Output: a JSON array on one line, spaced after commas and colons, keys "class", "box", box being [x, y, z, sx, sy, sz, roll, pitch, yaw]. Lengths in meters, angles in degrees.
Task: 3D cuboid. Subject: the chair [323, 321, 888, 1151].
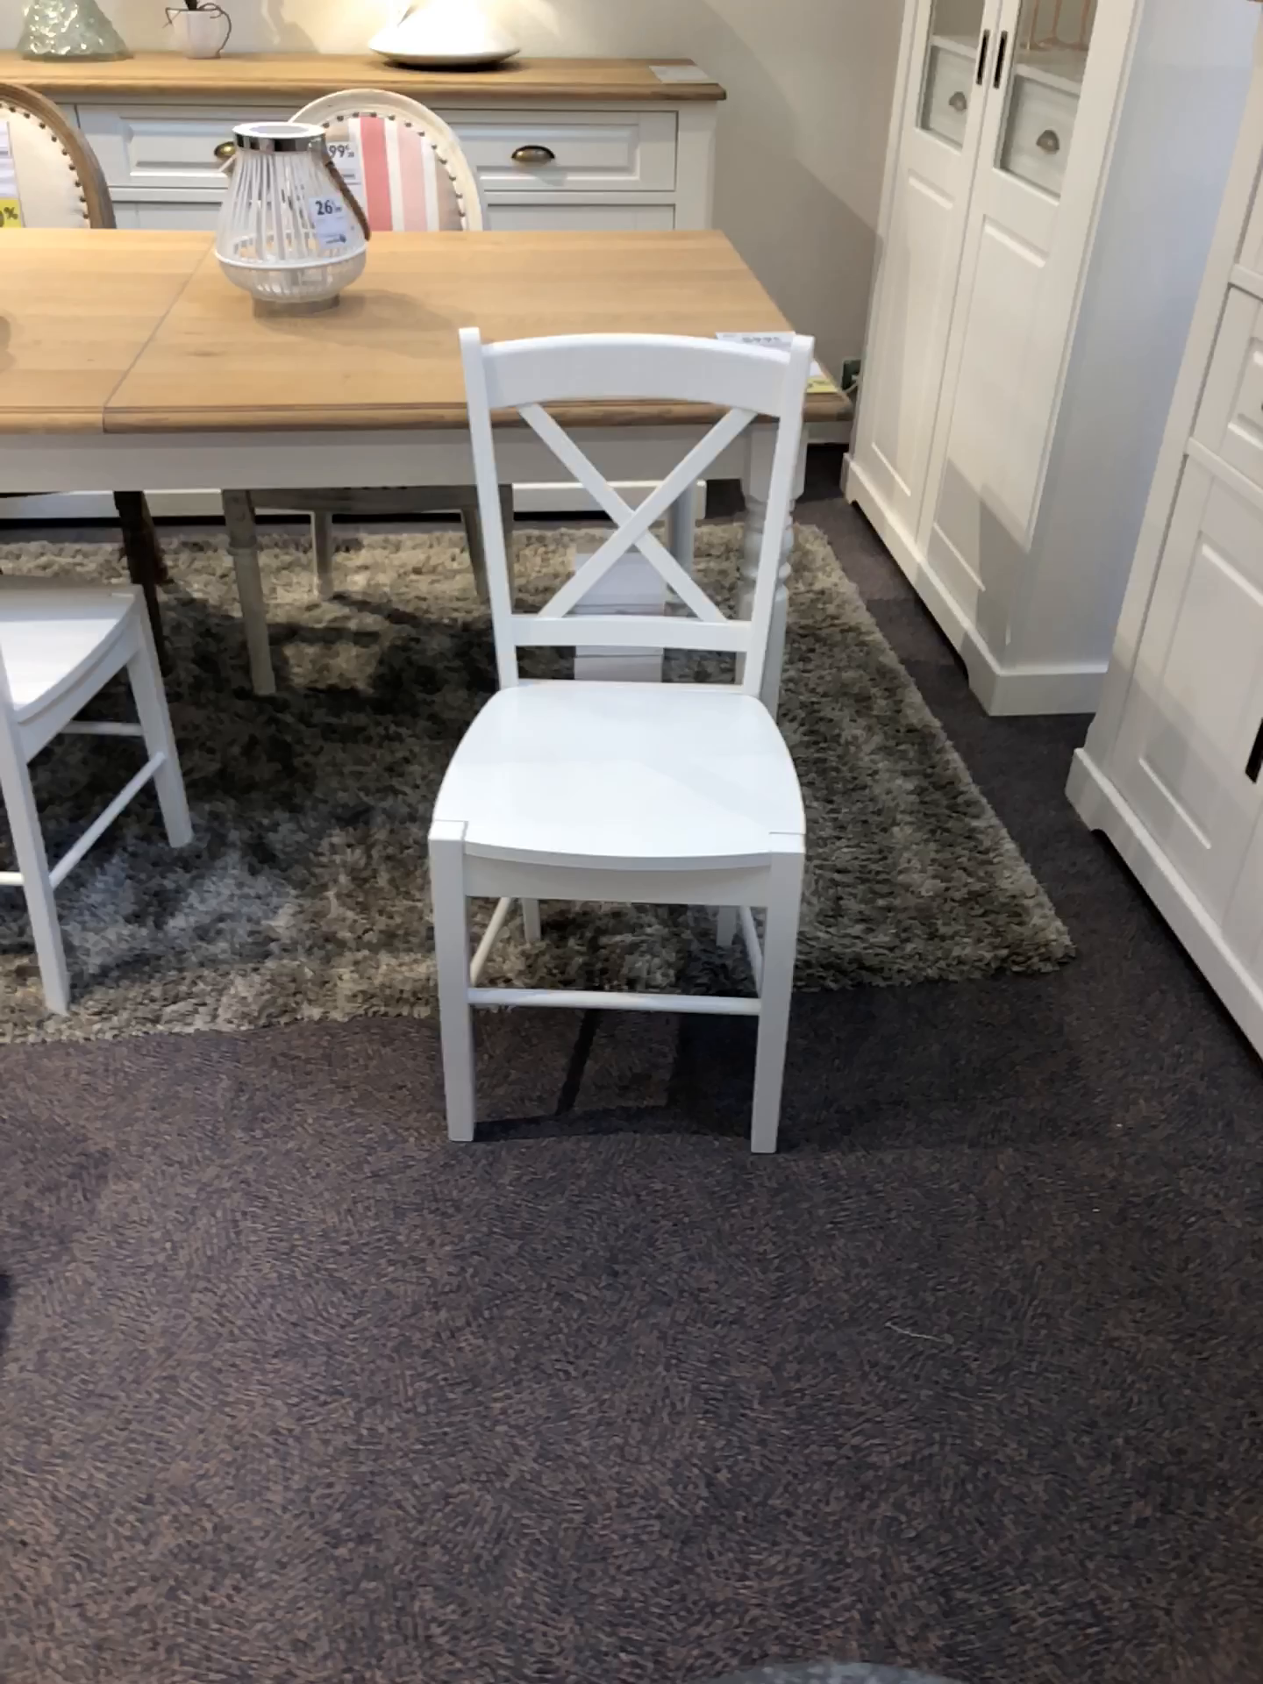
[{"class": "chair", "box": [-0.028, -0.109, 1.534, 0.460, 0.785, 0.463, 1, 34, -1]}]
